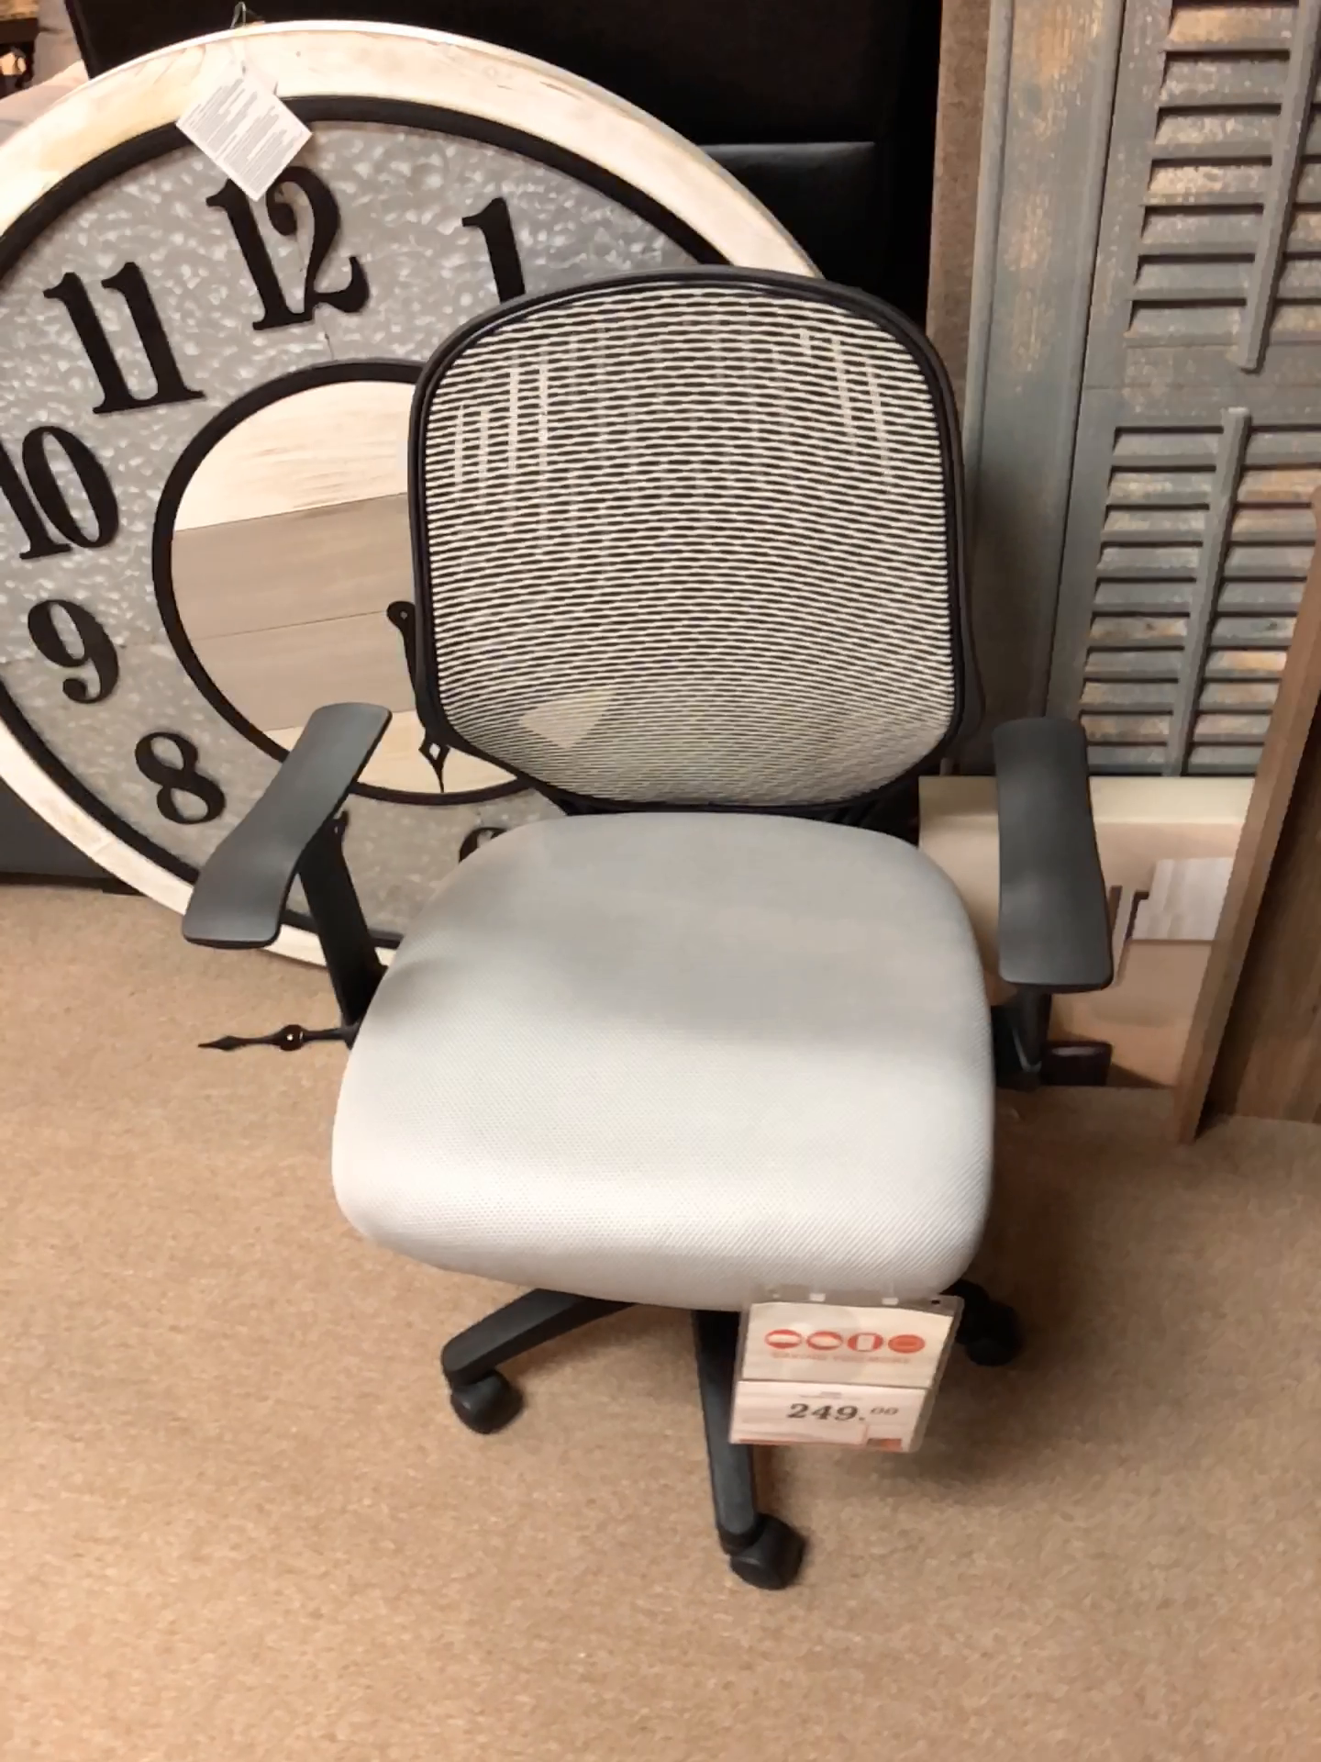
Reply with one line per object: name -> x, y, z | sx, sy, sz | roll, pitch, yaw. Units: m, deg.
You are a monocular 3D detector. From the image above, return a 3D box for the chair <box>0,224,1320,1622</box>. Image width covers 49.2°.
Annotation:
chair -> 0.036, 0.046, 1.164 | 0.610, 0.864, 0.674 | 1, 42, 7
